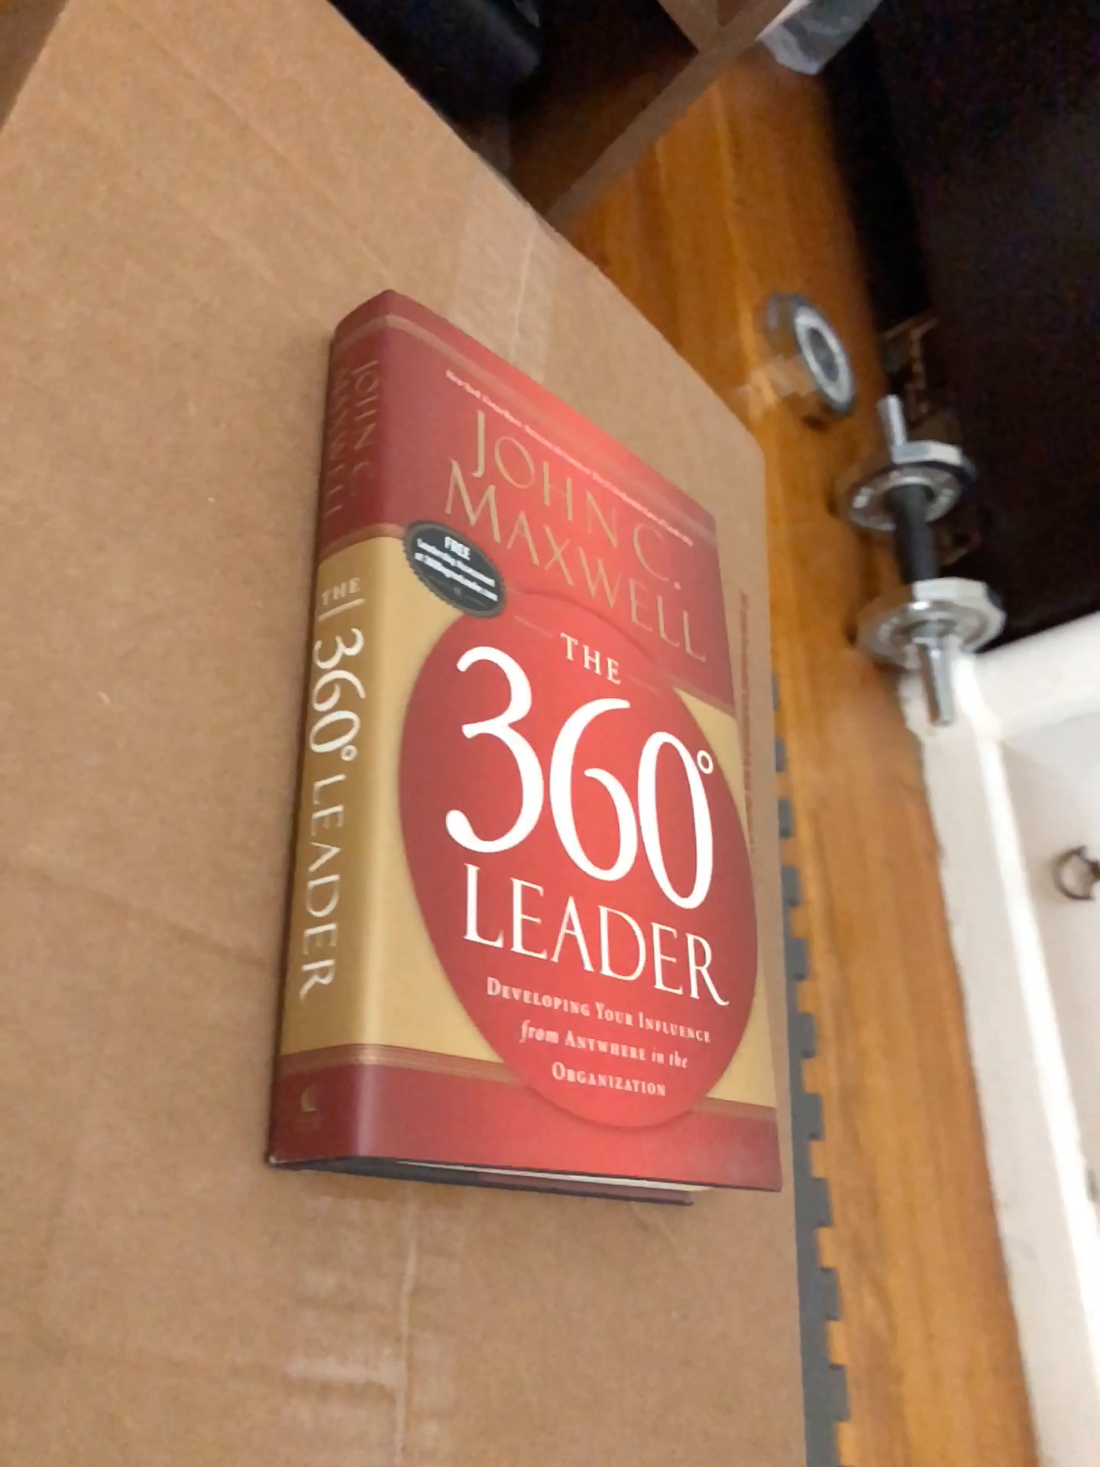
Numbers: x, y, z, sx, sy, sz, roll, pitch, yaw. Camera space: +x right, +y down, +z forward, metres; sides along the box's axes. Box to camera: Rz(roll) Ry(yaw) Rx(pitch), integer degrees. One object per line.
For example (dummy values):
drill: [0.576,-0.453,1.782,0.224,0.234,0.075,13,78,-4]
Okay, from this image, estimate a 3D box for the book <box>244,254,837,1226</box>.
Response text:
book: [0.007,0.008,0.352,0.181,0.030,0.240,25,53,-42]
